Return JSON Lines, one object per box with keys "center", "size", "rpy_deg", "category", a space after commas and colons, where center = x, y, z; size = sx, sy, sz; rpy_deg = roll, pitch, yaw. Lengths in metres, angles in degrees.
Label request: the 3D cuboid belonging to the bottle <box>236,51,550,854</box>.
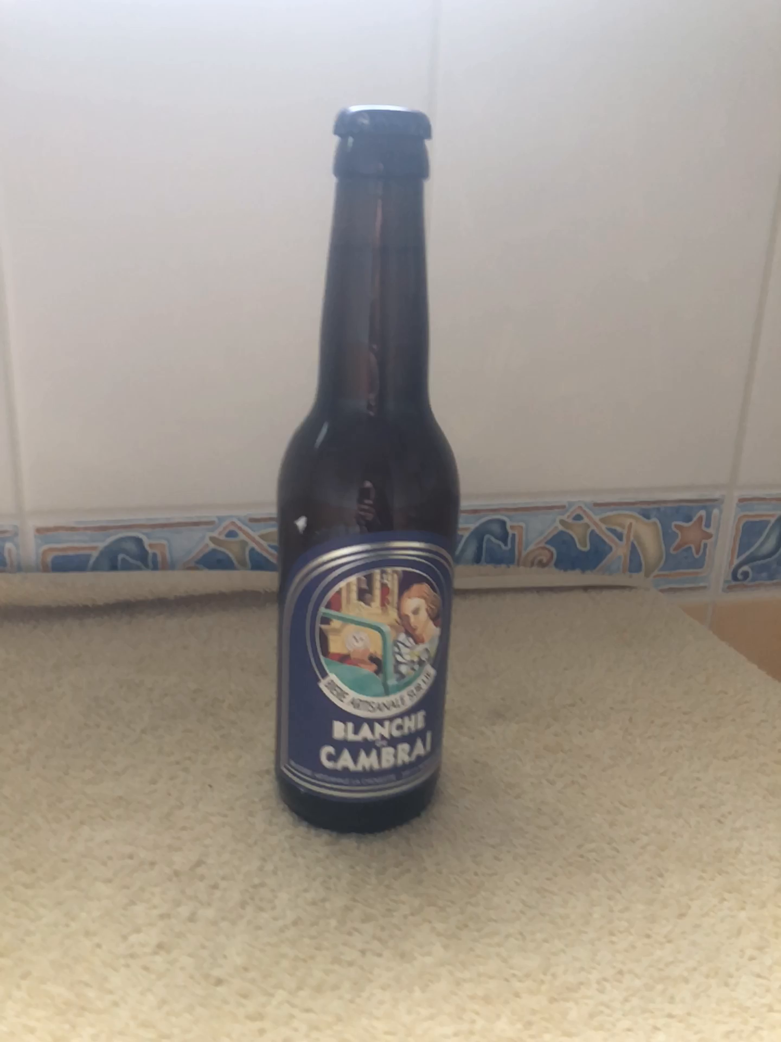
{"center": [-0.007, -0.016, 0.272], "size": [0.070, 0.219, 0.070], "rpy_deg": [2, 18, -1], "category": "bottle"}
